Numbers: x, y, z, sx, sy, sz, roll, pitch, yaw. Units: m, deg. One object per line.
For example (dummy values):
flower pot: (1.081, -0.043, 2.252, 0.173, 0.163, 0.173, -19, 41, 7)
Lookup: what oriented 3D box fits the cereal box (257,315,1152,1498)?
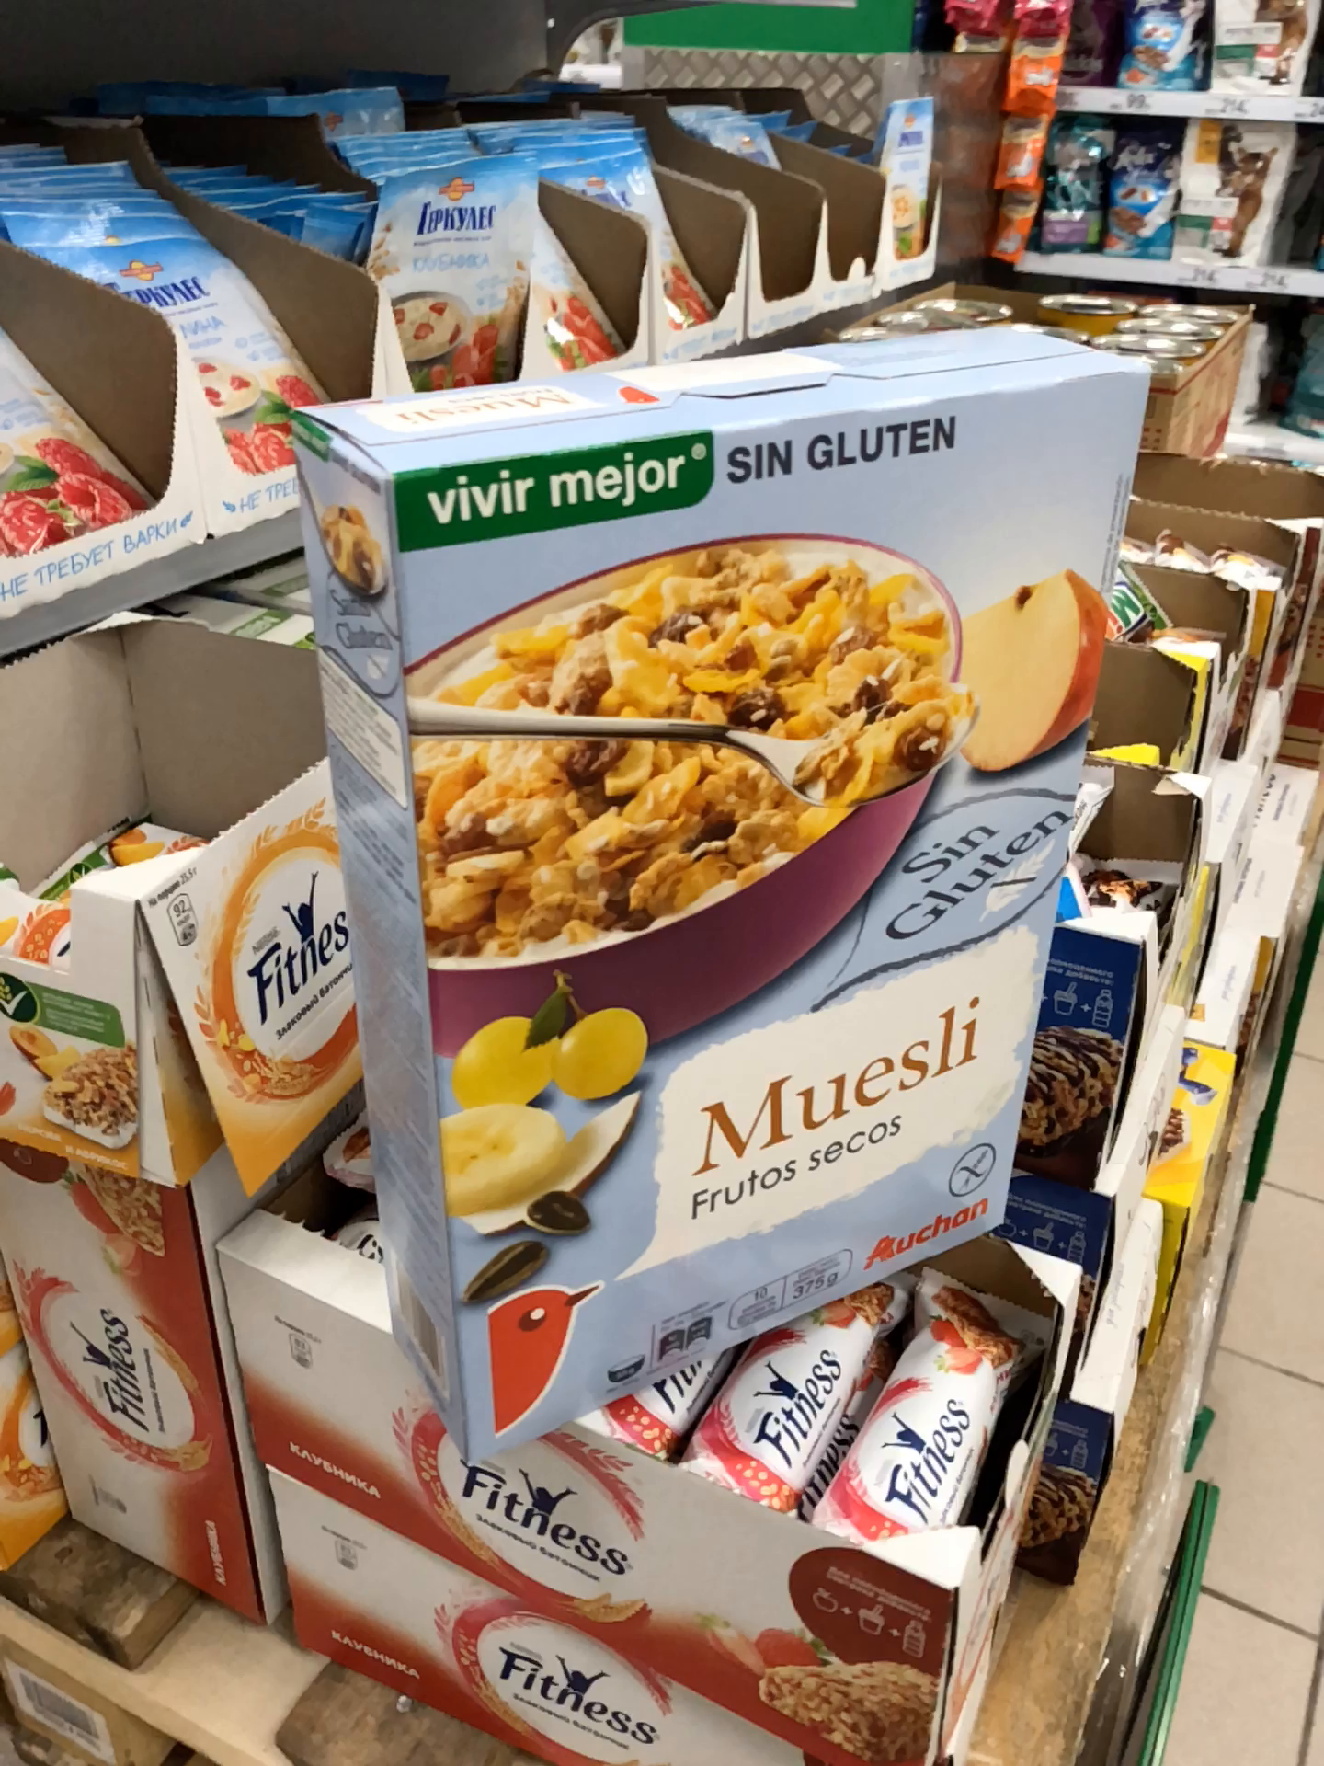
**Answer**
cereal box: (0.014, 0.009, 0.400, 0.200, 0.288, 0.060, -16, 34, -26)
